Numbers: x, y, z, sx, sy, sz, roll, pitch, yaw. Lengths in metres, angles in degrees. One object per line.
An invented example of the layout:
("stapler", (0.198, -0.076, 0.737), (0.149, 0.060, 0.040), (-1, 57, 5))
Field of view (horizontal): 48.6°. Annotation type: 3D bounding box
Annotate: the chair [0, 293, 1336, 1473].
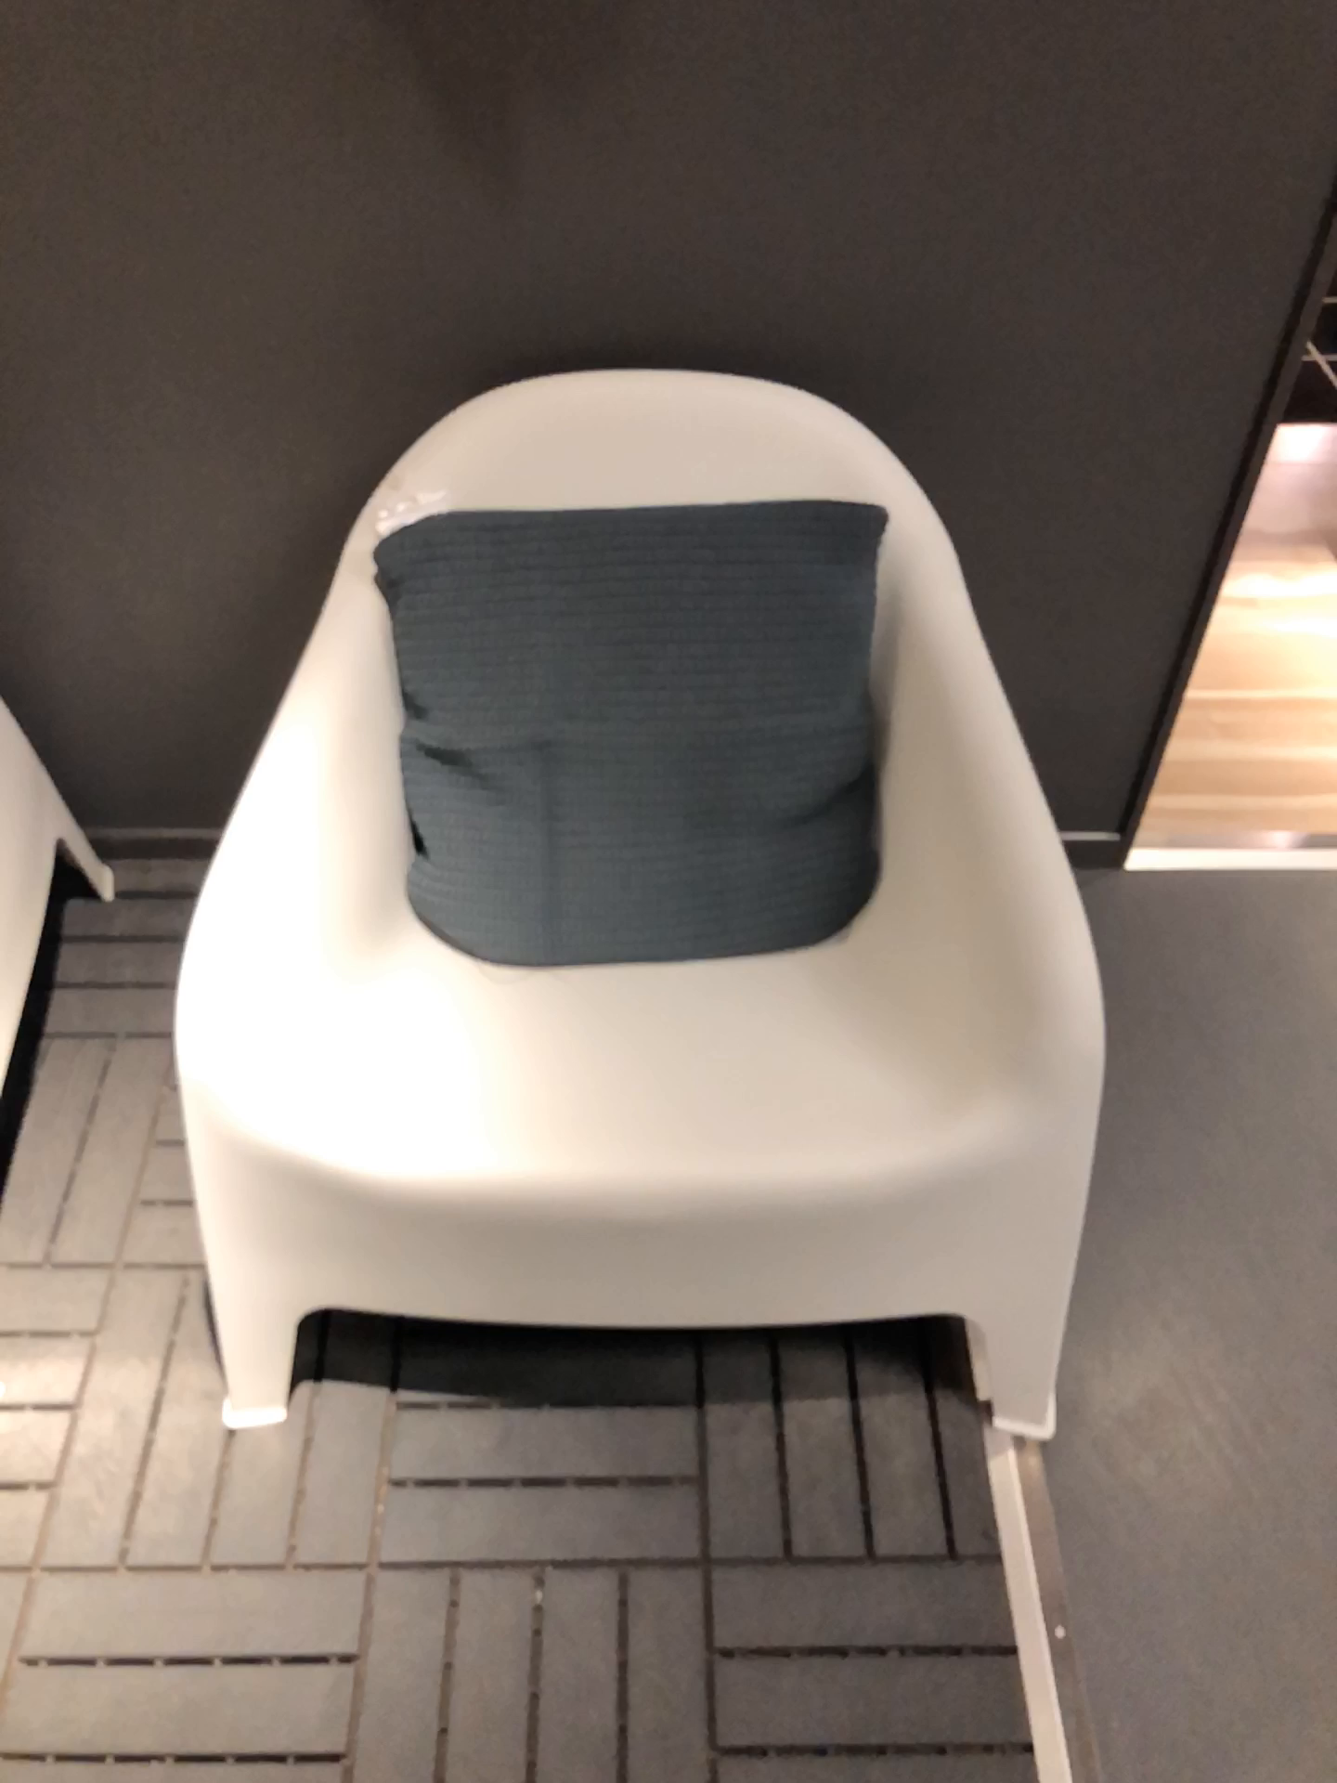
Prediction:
("chair", (-0.036, -0.014, 1.396), (0.830, 0.765, 0.785), (-1, 46, -3))
